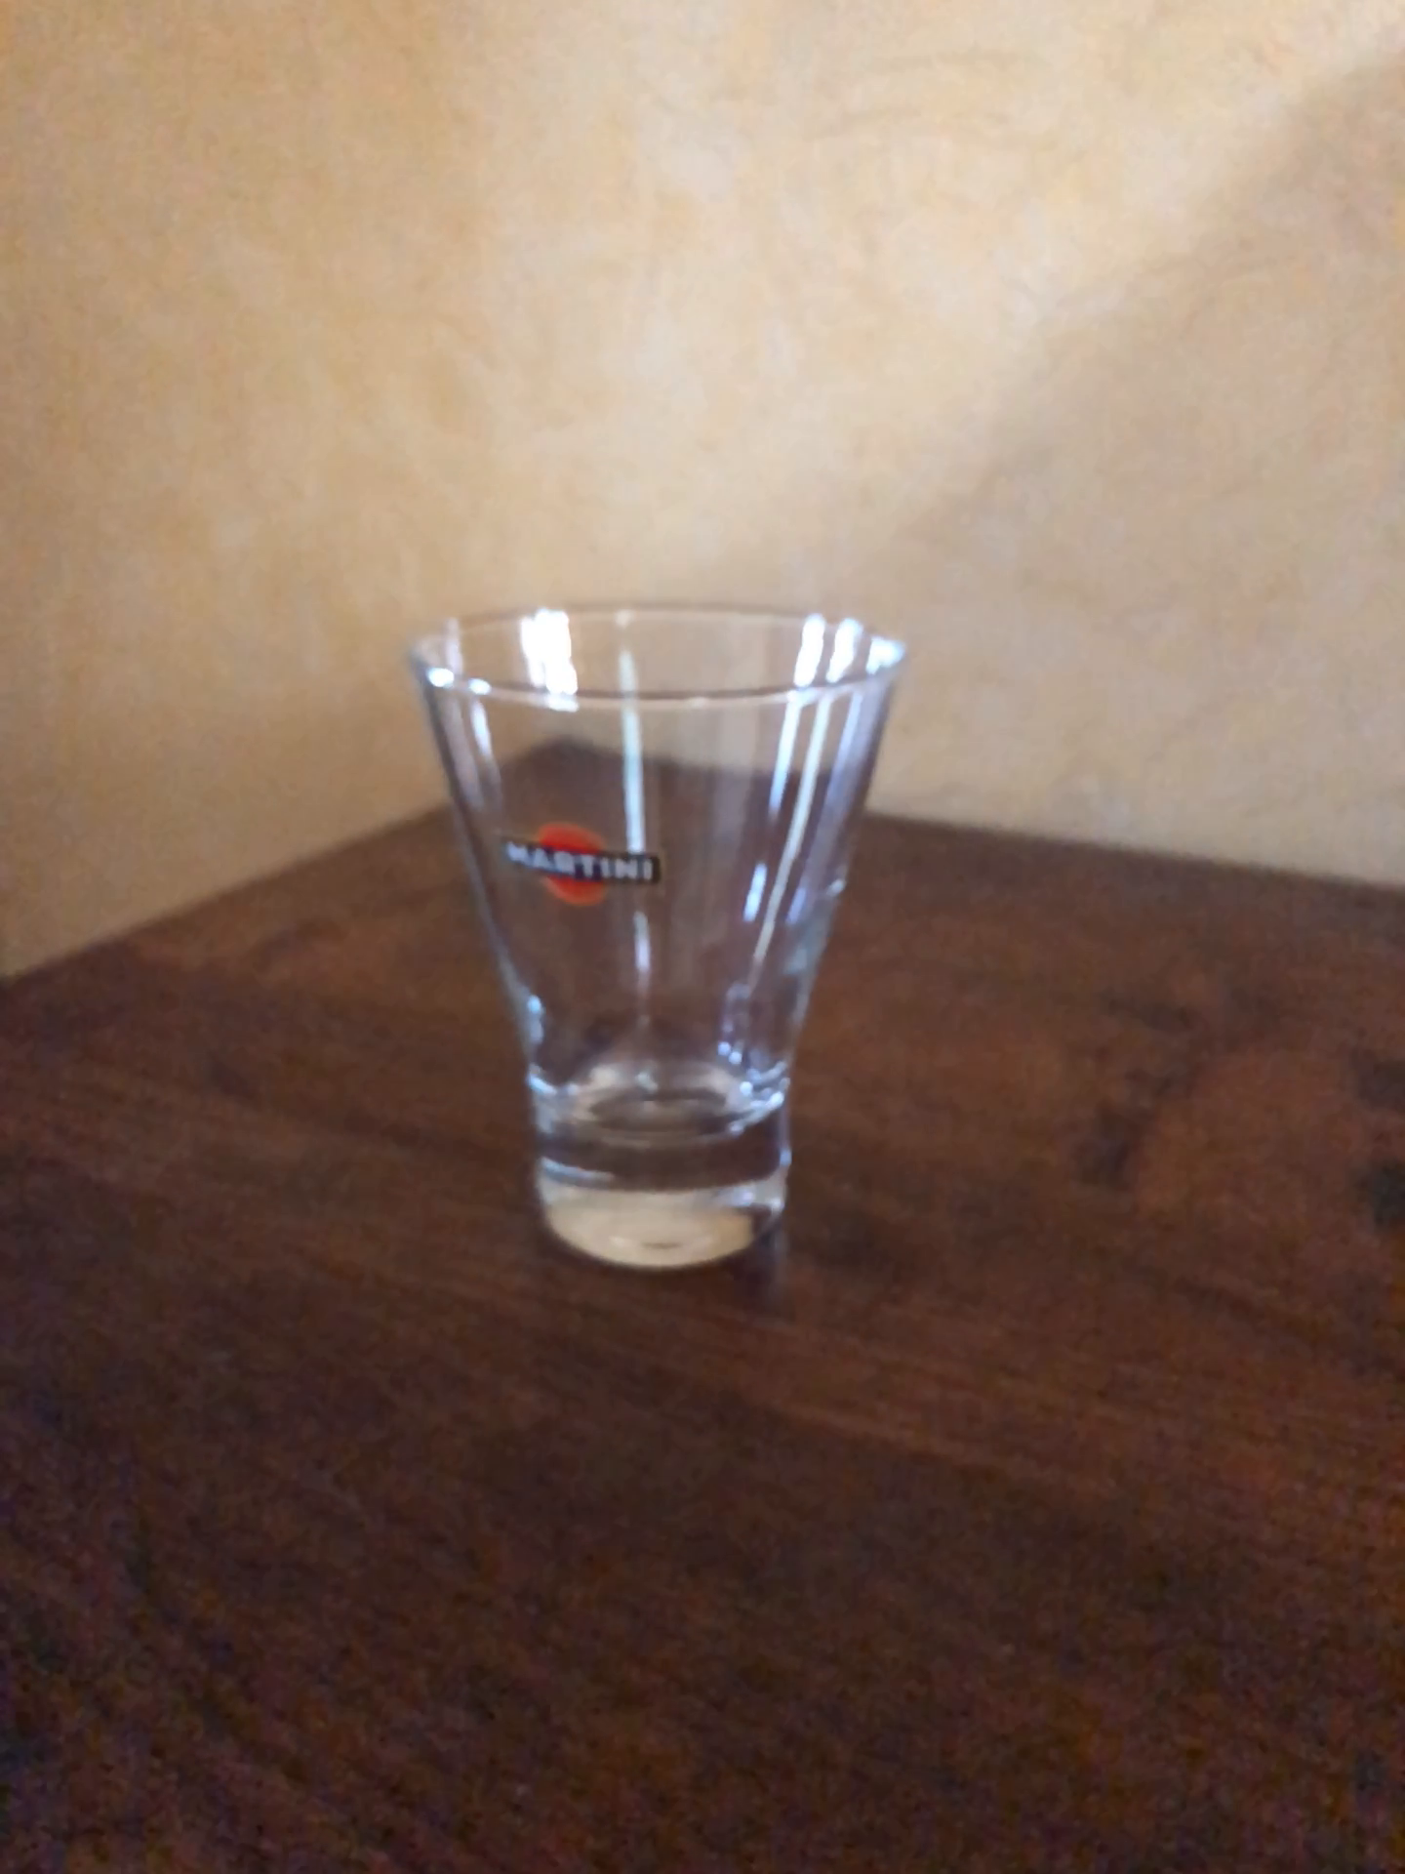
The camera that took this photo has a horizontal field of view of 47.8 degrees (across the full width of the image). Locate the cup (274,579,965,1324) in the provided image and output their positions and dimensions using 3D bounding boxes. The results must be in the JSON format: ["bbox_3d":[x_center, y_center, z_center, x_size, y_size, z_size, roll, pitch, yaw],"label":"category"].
[{"bbox_3d":[-0.008,-0.007,0.293,0.090,0.100,0.101,7,21,17],"label":"cup"}]
